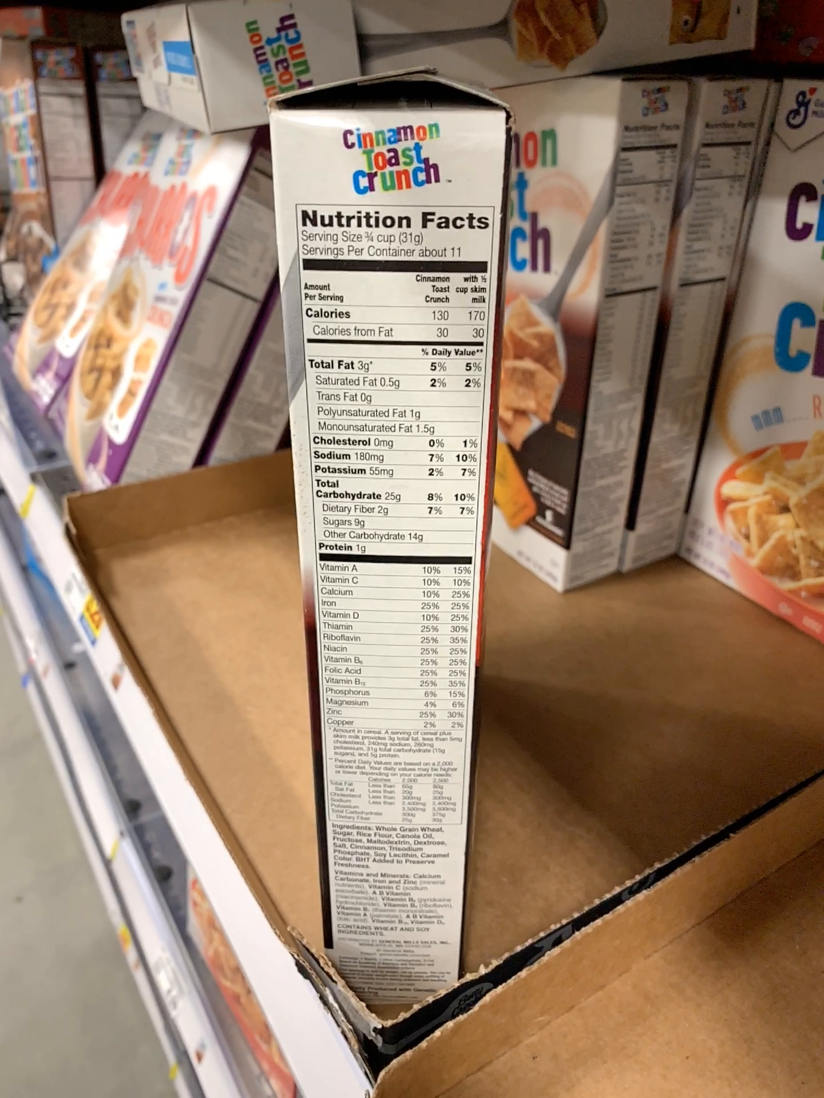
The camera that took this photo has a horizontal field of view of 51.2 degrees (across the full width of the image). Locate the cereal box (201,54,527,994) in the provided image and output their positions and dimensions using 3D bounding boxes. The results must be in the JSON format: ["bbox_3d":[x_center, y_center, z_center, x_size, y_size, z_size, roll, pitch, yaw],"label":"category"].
[{"bbox_3d":[-0.007,-0.017,0.309,0.060,0.279,0.191,0,29,1],"label":"cereal box"}]
